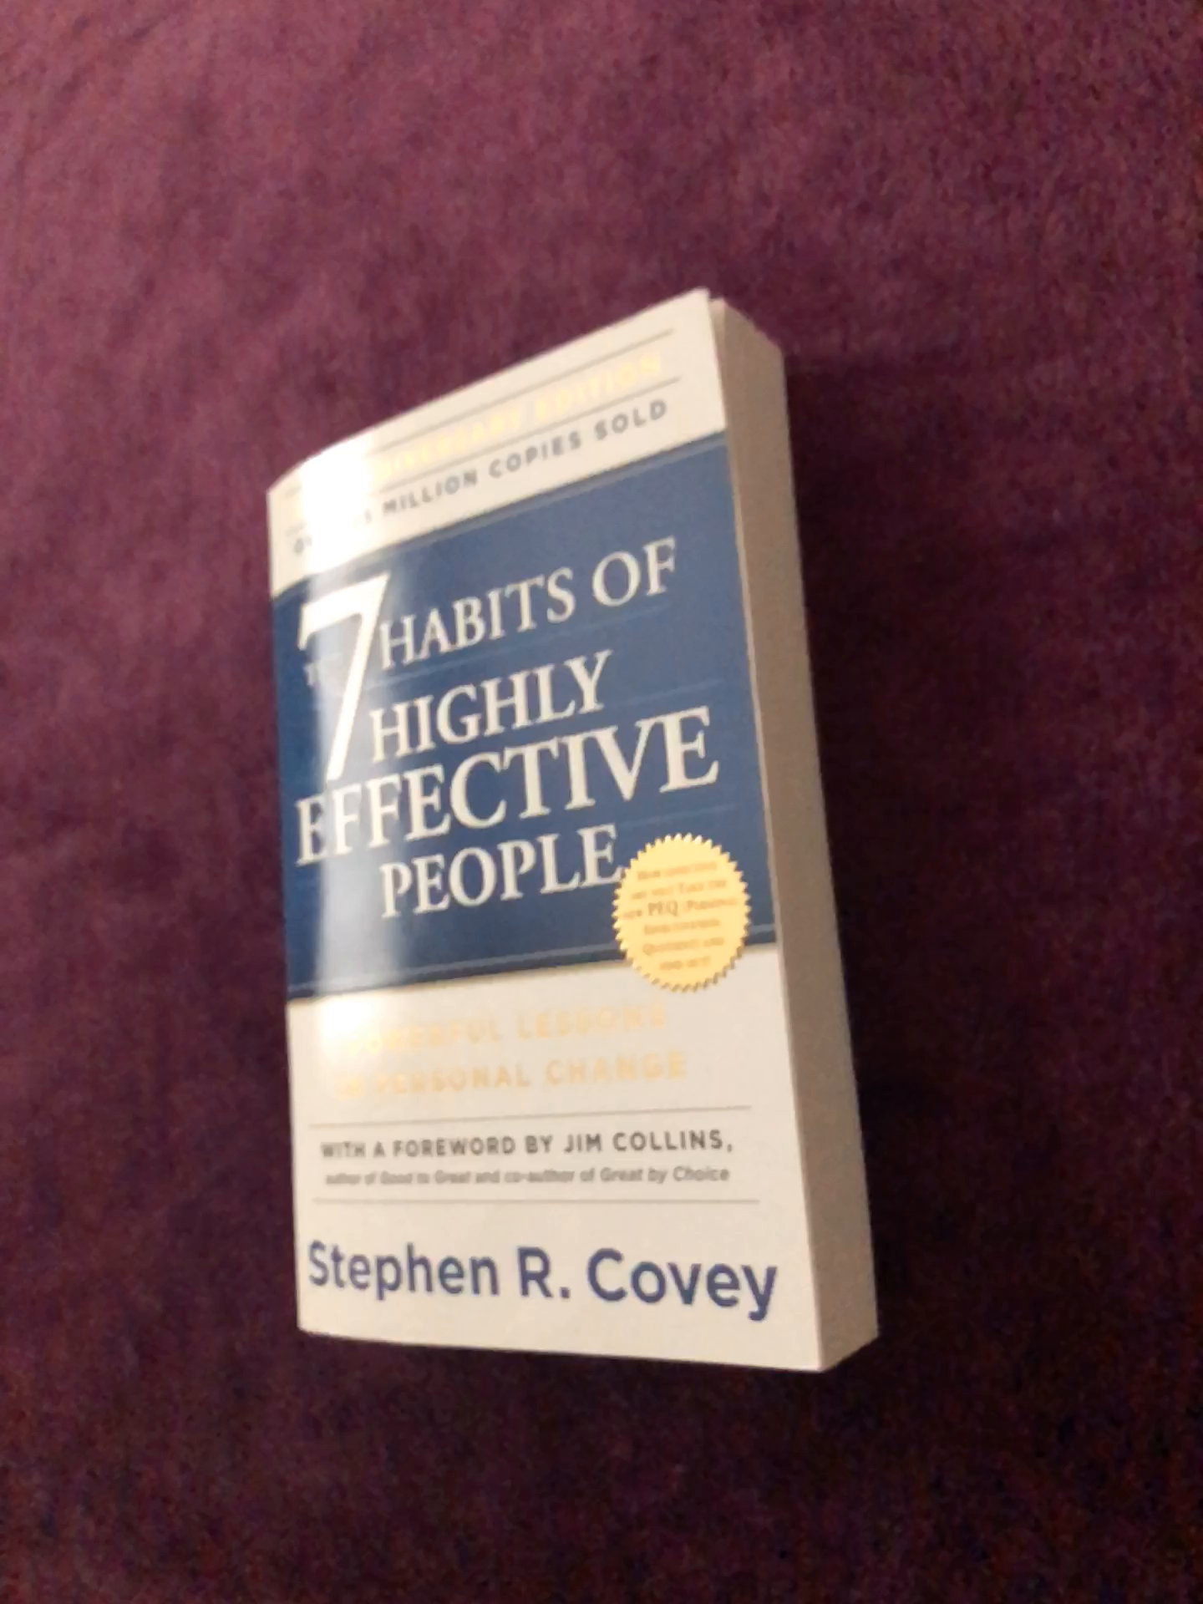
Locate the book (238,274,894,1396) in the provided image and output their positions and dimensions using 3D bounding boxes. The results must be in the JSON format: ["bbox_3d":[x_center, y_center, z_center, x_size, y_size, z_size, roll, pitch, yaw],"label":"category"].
[{"bbox_3d":[-0.019,0.012,0.311,0.147,0.028,0.217,-11,79,33],"label":"book"}]
